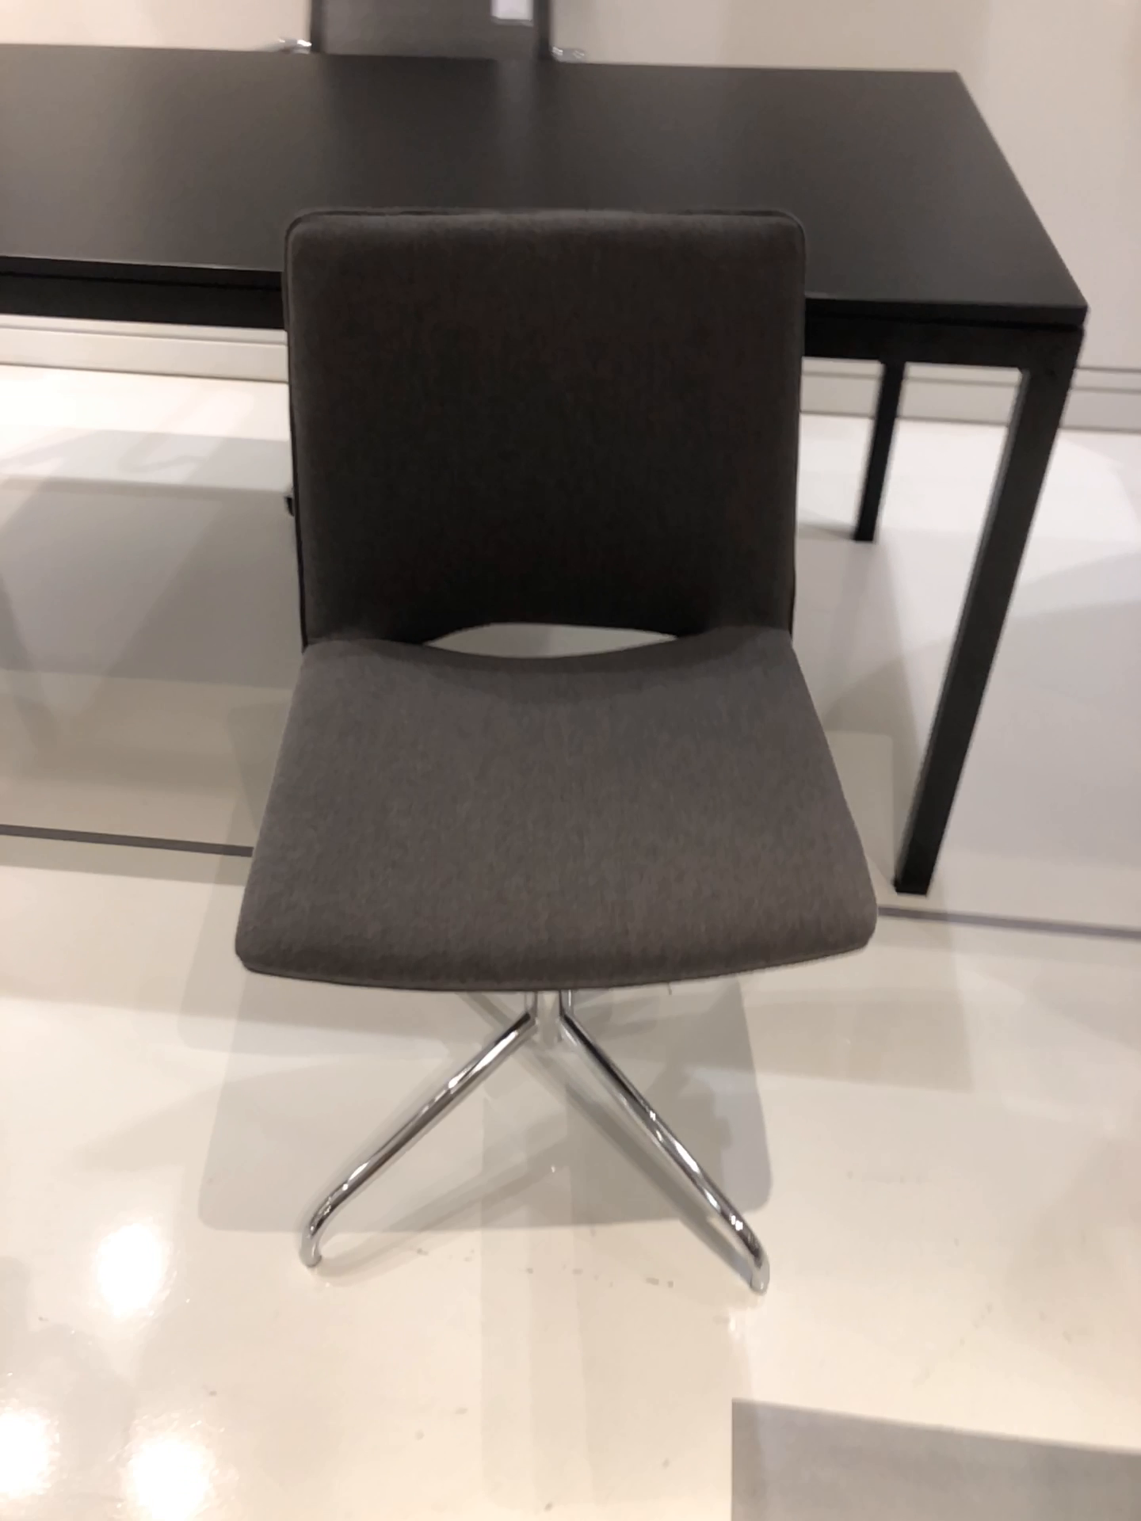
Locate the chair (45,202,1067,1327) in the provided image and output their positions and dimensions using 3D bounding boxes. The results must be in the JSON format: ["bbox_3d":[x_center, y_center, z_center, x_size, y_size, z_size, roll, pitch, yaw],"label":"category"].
[{"bbox_3d":[-0.015,0.029,1.111,0.520,0.843,0.534,0,39,-1],"label":"chair"}]
